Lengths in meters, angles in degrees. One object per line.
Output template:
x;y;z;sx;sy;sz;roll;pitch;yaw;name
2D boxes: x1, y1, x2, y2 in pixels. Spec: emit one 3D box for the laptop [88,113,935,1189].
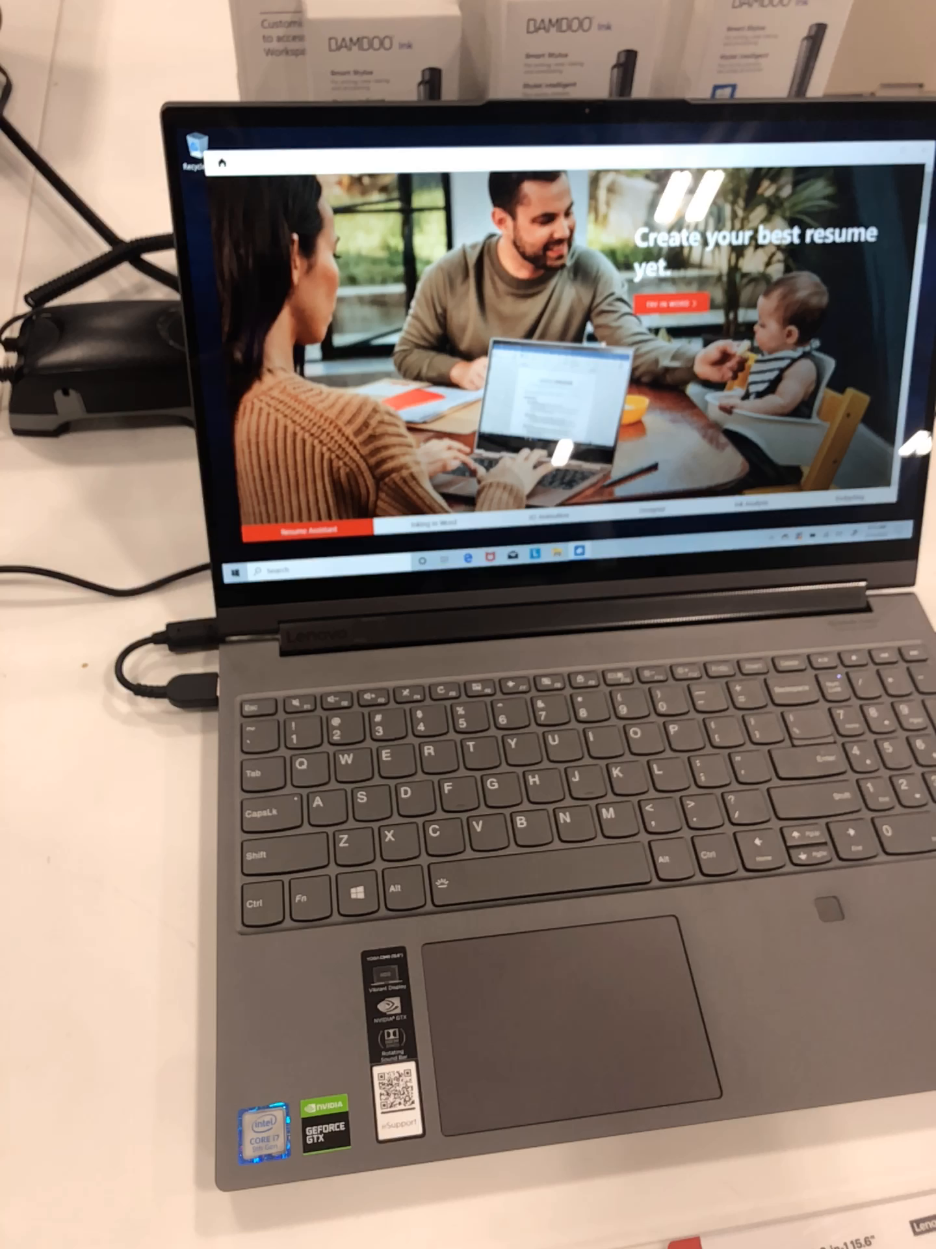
0.066;-0.020;0.420;0.345;0.189;0.368;-4;53;-7;laptop
